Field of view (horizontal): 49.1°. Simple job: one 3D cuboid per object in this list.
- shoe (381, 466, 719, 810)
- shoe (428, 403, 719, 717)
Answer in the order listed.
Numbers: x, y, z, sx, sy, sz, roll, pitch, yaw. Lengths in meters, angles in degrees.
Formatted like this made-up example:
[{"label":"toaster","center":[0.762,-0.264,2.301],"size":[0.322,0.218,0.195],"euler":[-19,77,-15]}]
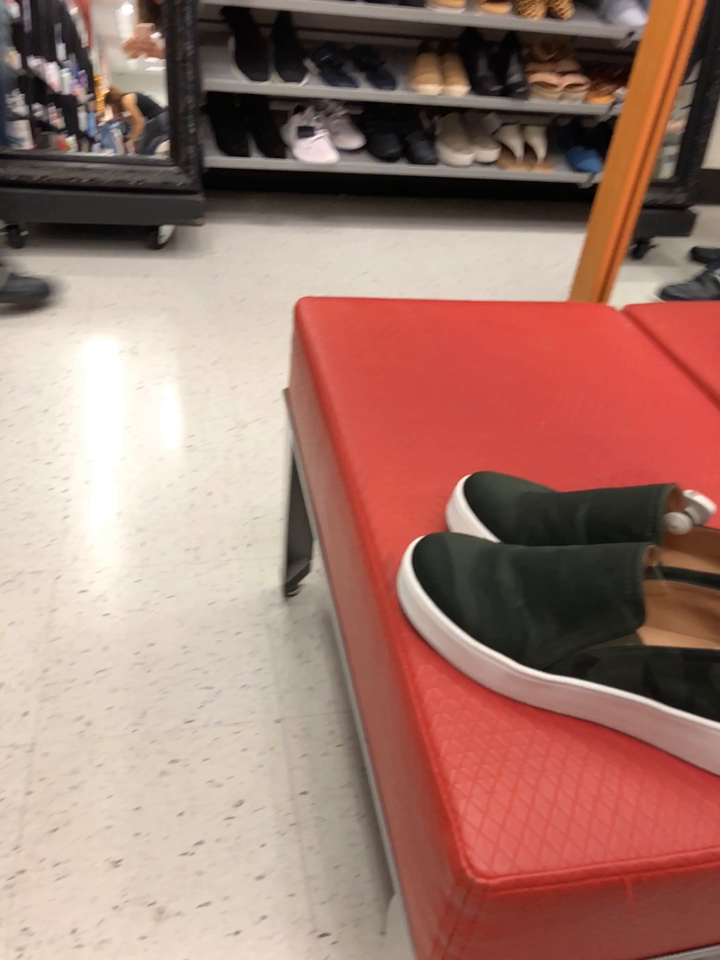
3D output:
[{"label":"shoe","center":[0.147,0.087,0.481],"size":[0.244,0.090,0.091],"euler":[18,37,16]},{"label":"shoe","center":[0.184,0.045,0.546],"size":[0.250,0.090,0.089],"euler":[24,39,22]}]
